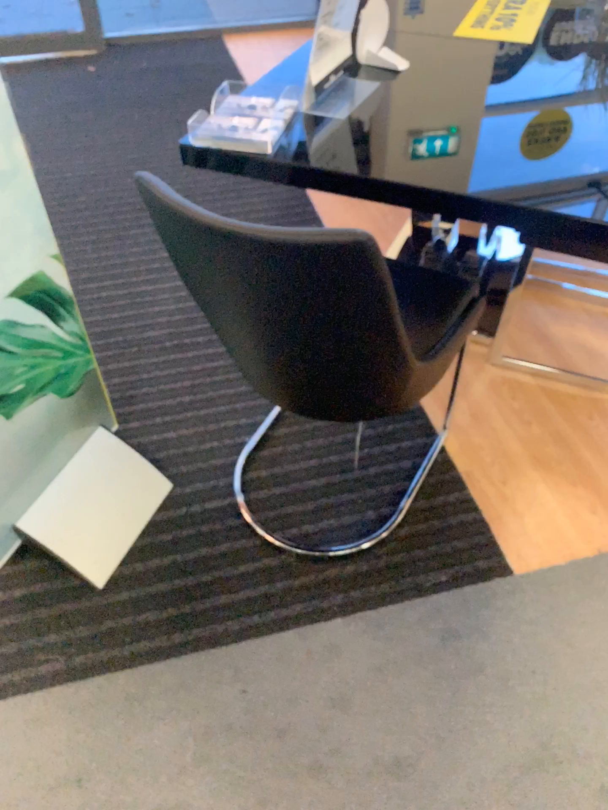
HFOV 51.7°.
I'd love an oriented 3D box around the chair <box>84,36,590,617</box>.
[{"bbox_3d":[0.090,-0.150,1.230,0.532,0.811,0.613,22,50,22],"label":"chair"}]
